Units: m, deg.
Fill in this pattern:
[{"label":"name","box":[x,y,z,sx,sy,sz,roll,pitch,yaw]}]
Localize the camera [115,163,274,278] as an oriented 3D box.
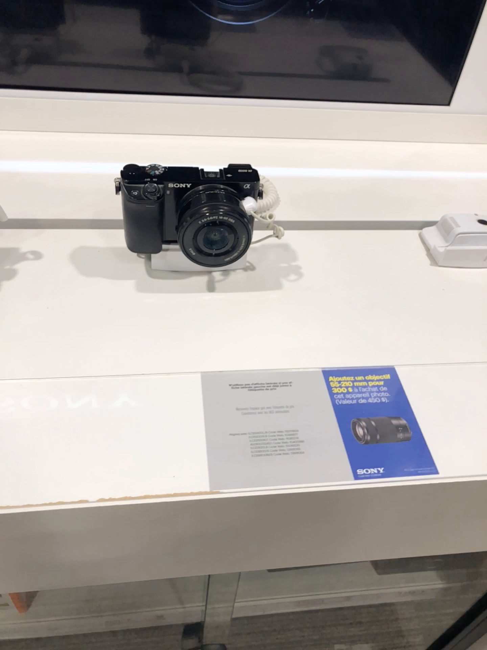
[{"label":"camera","box":[-0.046,-0.096,0.491,0.130,0.077,0.065,-3,45,-9]}]
